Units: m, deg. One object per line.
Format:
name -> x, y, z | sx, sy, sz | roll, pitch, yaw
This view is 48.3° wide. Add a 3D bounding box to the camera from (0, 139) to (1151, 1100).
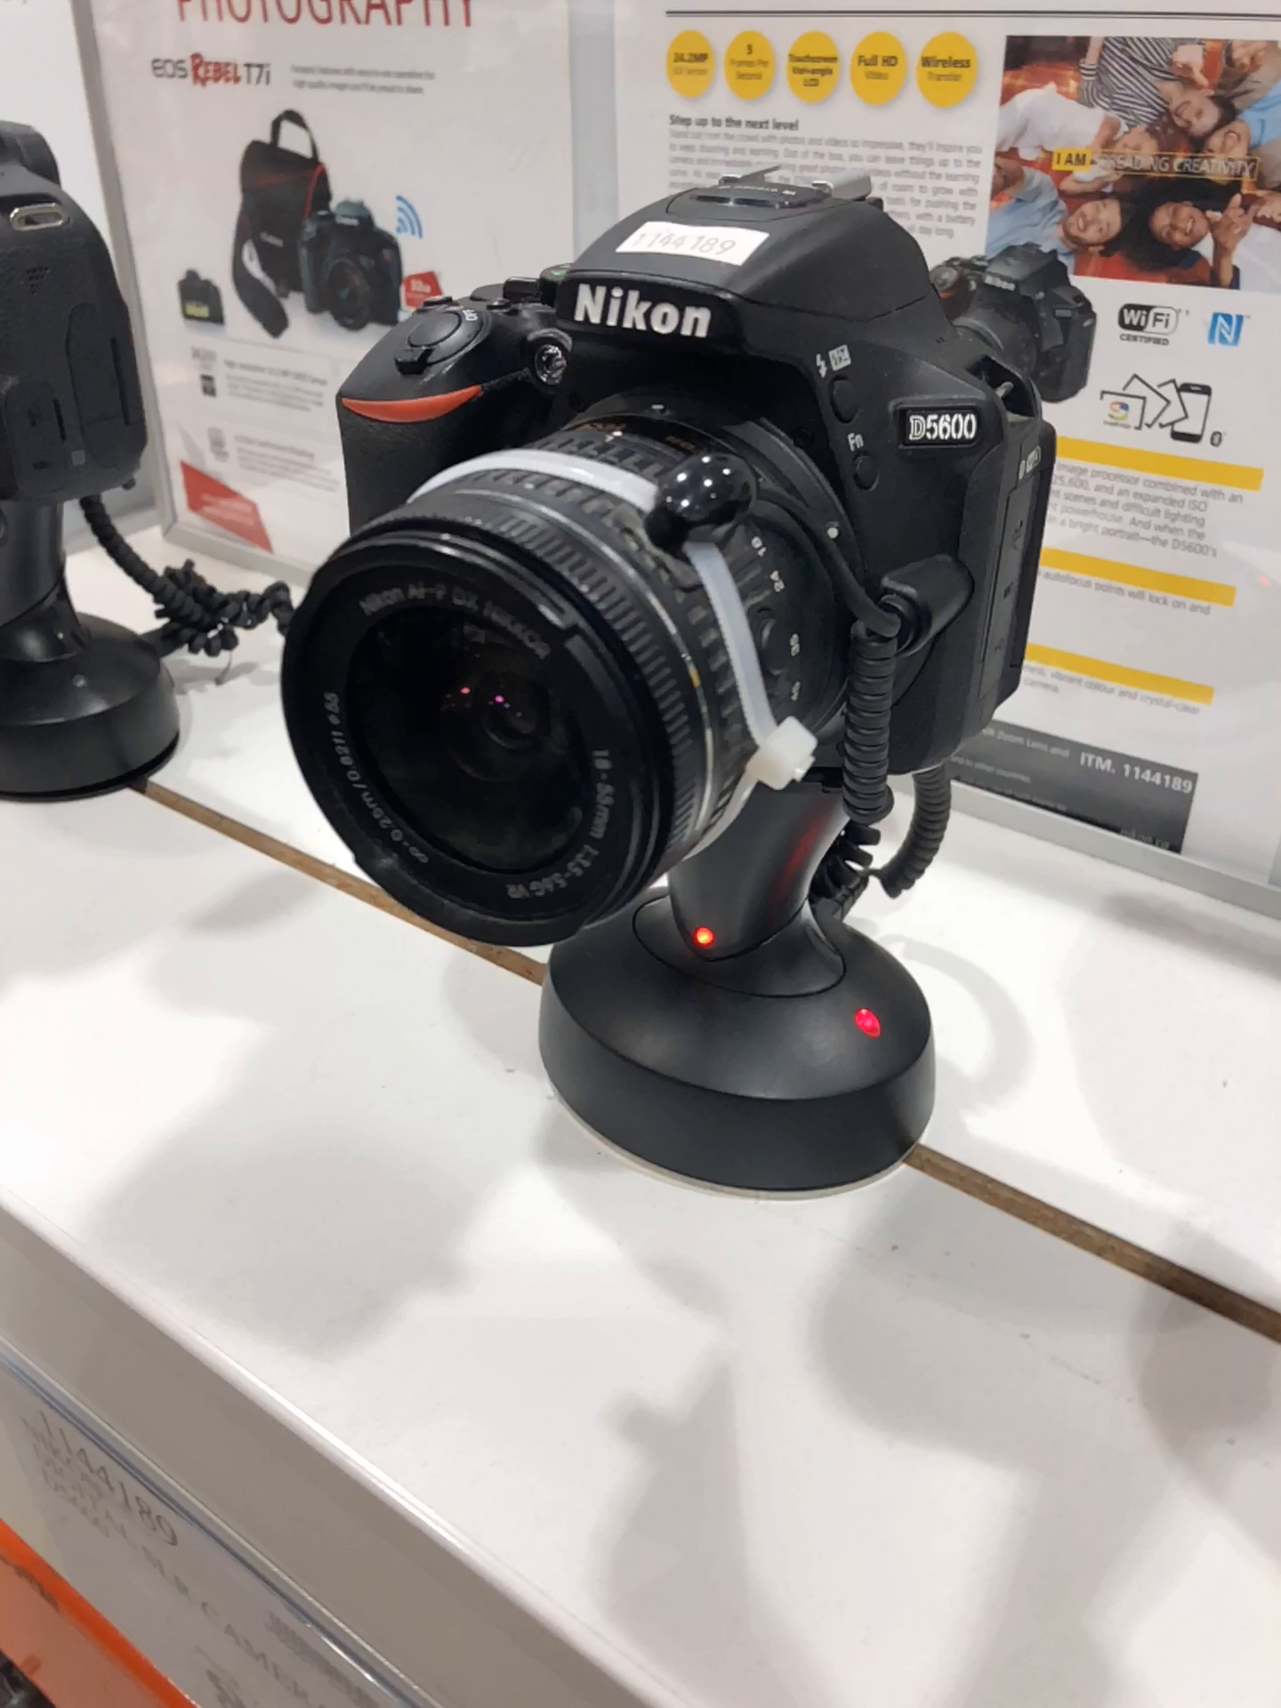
camera -> -0.006, -0.057, 0.236 | 0.130, 0.090, 0.140 | 17, 36, 23
